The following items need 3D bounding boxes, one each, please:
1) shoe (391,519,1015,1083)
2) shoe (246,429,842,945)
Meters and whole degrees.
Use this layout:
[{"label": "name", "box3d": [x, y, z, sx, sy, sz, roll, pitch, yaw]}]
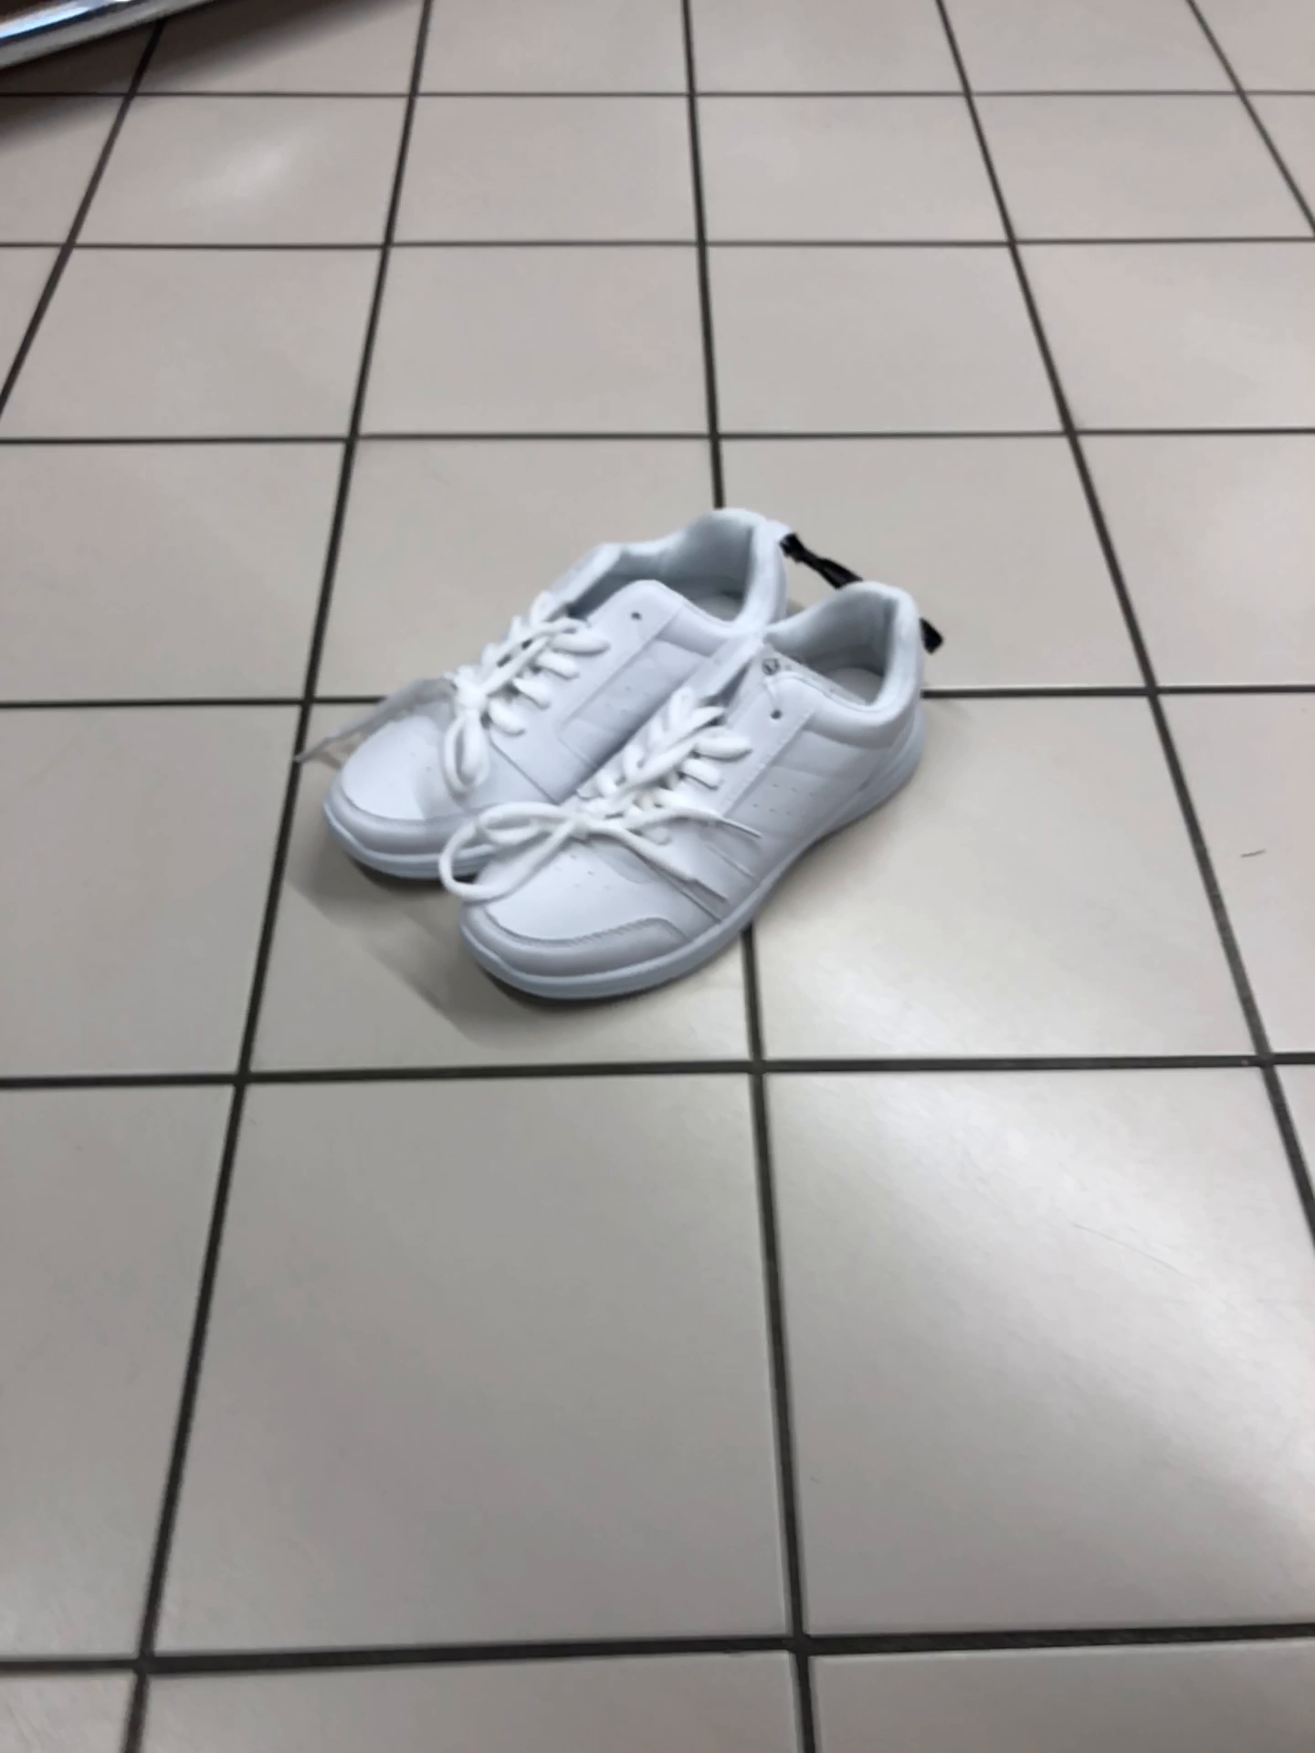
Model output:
[{"label": "shoe", "box3d": [0.023, -0.037, 0.593, 0.241, 0.090, 0.090, -34, 60, -24]}, {"label": "shoe", "box3d": [-0.041, -0.088, 0.633, 0.241, 0.090, 0.090, -34, 60, -24]}]
